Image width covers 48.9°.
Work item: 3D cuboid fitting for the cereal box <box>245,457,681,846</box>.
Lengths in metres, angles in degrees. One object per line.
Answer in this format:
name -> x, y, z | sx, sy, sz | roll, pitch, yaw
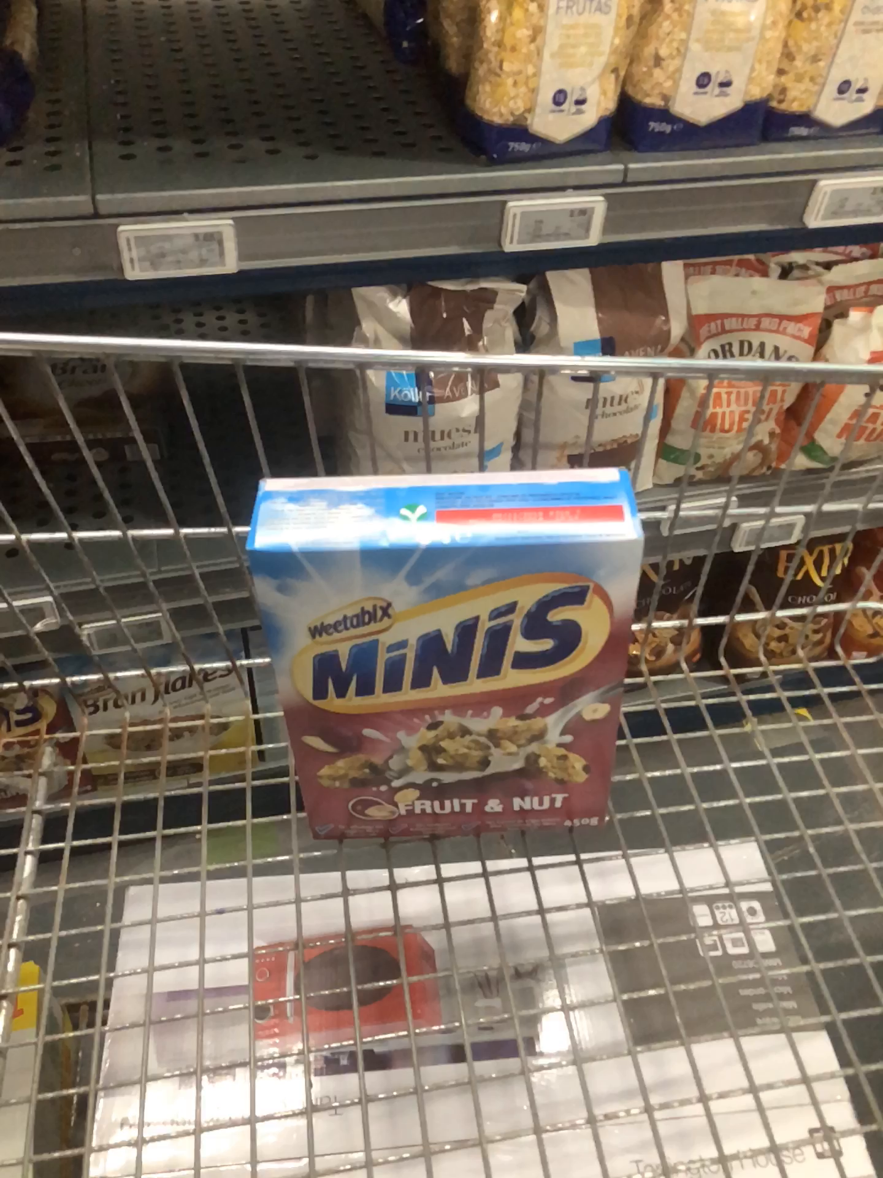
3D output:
cereal box -> 0.012, 0.051, 0.608 | 0.220, 0.259, 0.080 | -3, 44, -1
